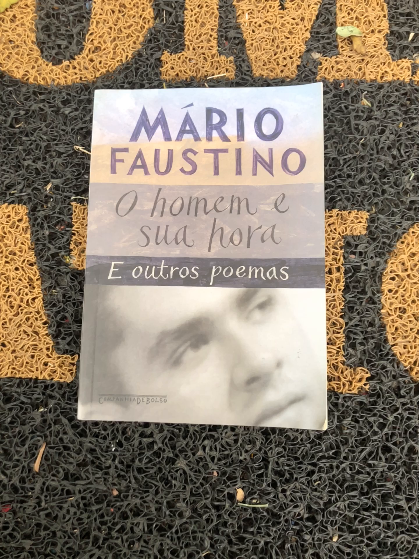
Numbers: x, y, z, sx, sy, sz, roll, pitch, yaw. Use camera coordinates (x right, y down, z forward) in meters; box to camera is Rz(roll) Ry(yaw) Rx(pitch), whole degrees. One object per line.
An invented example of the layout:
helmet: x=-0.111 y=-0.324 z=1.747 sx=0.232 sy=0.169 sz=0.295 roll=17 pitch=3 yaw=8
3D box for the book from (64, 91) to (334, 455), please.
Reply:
book: x=-0.003 y=-0.007 z=0.235 sx=0.124 sy=0.020 sz=0.174 roll=1 pitch=82 yaw=5
